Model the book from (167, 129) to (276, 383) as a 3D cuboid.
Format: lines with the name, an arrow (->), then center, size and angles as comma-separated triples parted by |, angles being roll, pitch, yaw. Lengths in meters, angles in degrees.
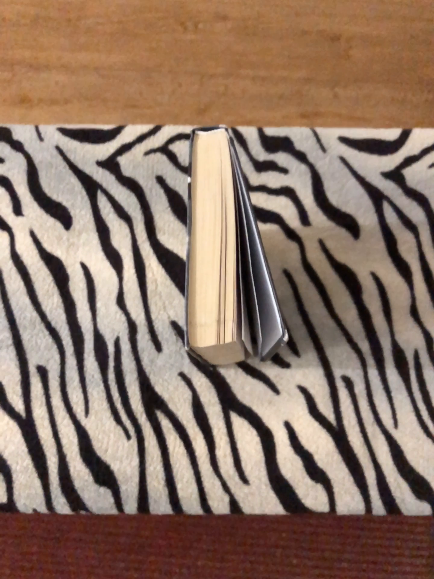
book -> 0.005, -0.005, 0.369 | 0.057, 0.192, 0.144 | -2, 78, 2
